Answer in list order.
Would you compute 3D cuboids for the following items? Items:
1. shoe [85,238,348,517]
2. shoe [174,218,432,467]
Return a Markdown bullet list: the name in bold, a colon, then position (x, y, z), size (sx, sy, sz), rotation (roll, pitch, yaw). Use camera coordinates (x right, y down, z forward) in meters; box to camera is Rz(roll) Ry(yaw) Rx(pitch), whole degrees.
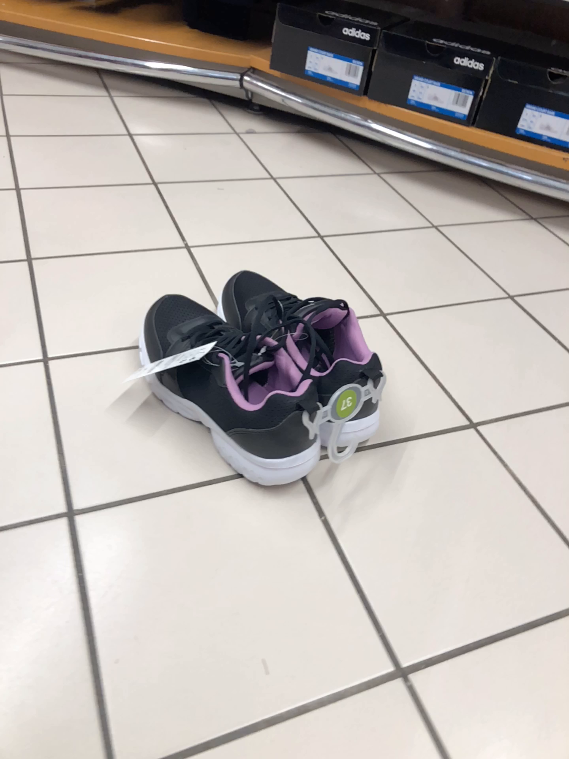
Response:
- **shoe**: position (-0.072, -0.017, 0.575), size (0.110, 0.089, 0.260), rotation (-24, 50, -27)
- **shoe**: position (0.003, -0.051, 0.617), size (0.110, 0.089, 0.260), rotation (-21, 49, -30)
